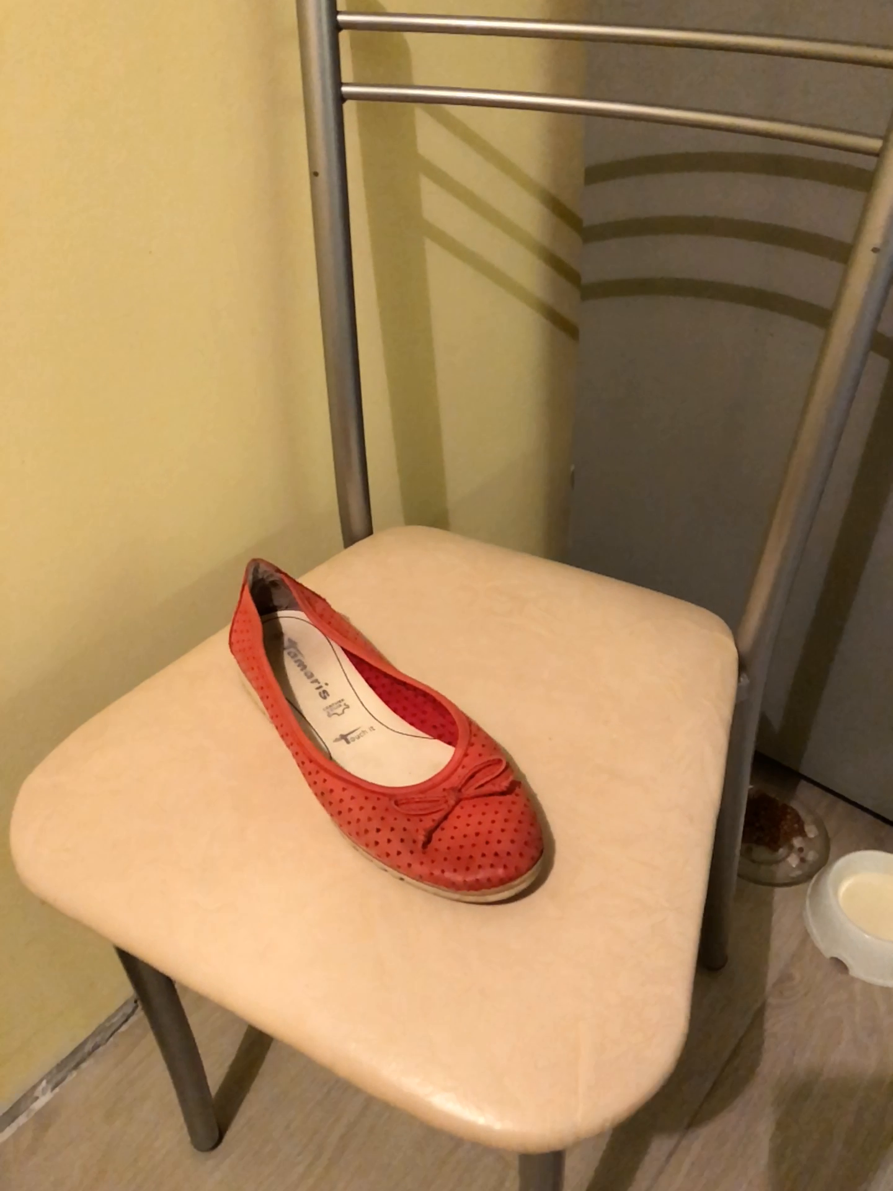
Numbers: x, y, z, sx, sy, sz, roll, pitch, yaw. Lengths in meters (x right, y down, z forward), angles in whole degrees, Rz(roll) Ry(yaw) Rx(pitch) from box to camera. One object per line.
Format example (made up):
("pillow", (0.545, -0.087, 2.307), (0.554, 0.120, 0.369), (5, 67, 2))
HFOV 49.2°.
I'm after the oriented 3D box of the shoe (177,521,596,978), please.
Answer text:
("shoe", (-0.042, 0.067, 0.538), (0.100, 0.080, 0.251), (-26, 45, -25))
